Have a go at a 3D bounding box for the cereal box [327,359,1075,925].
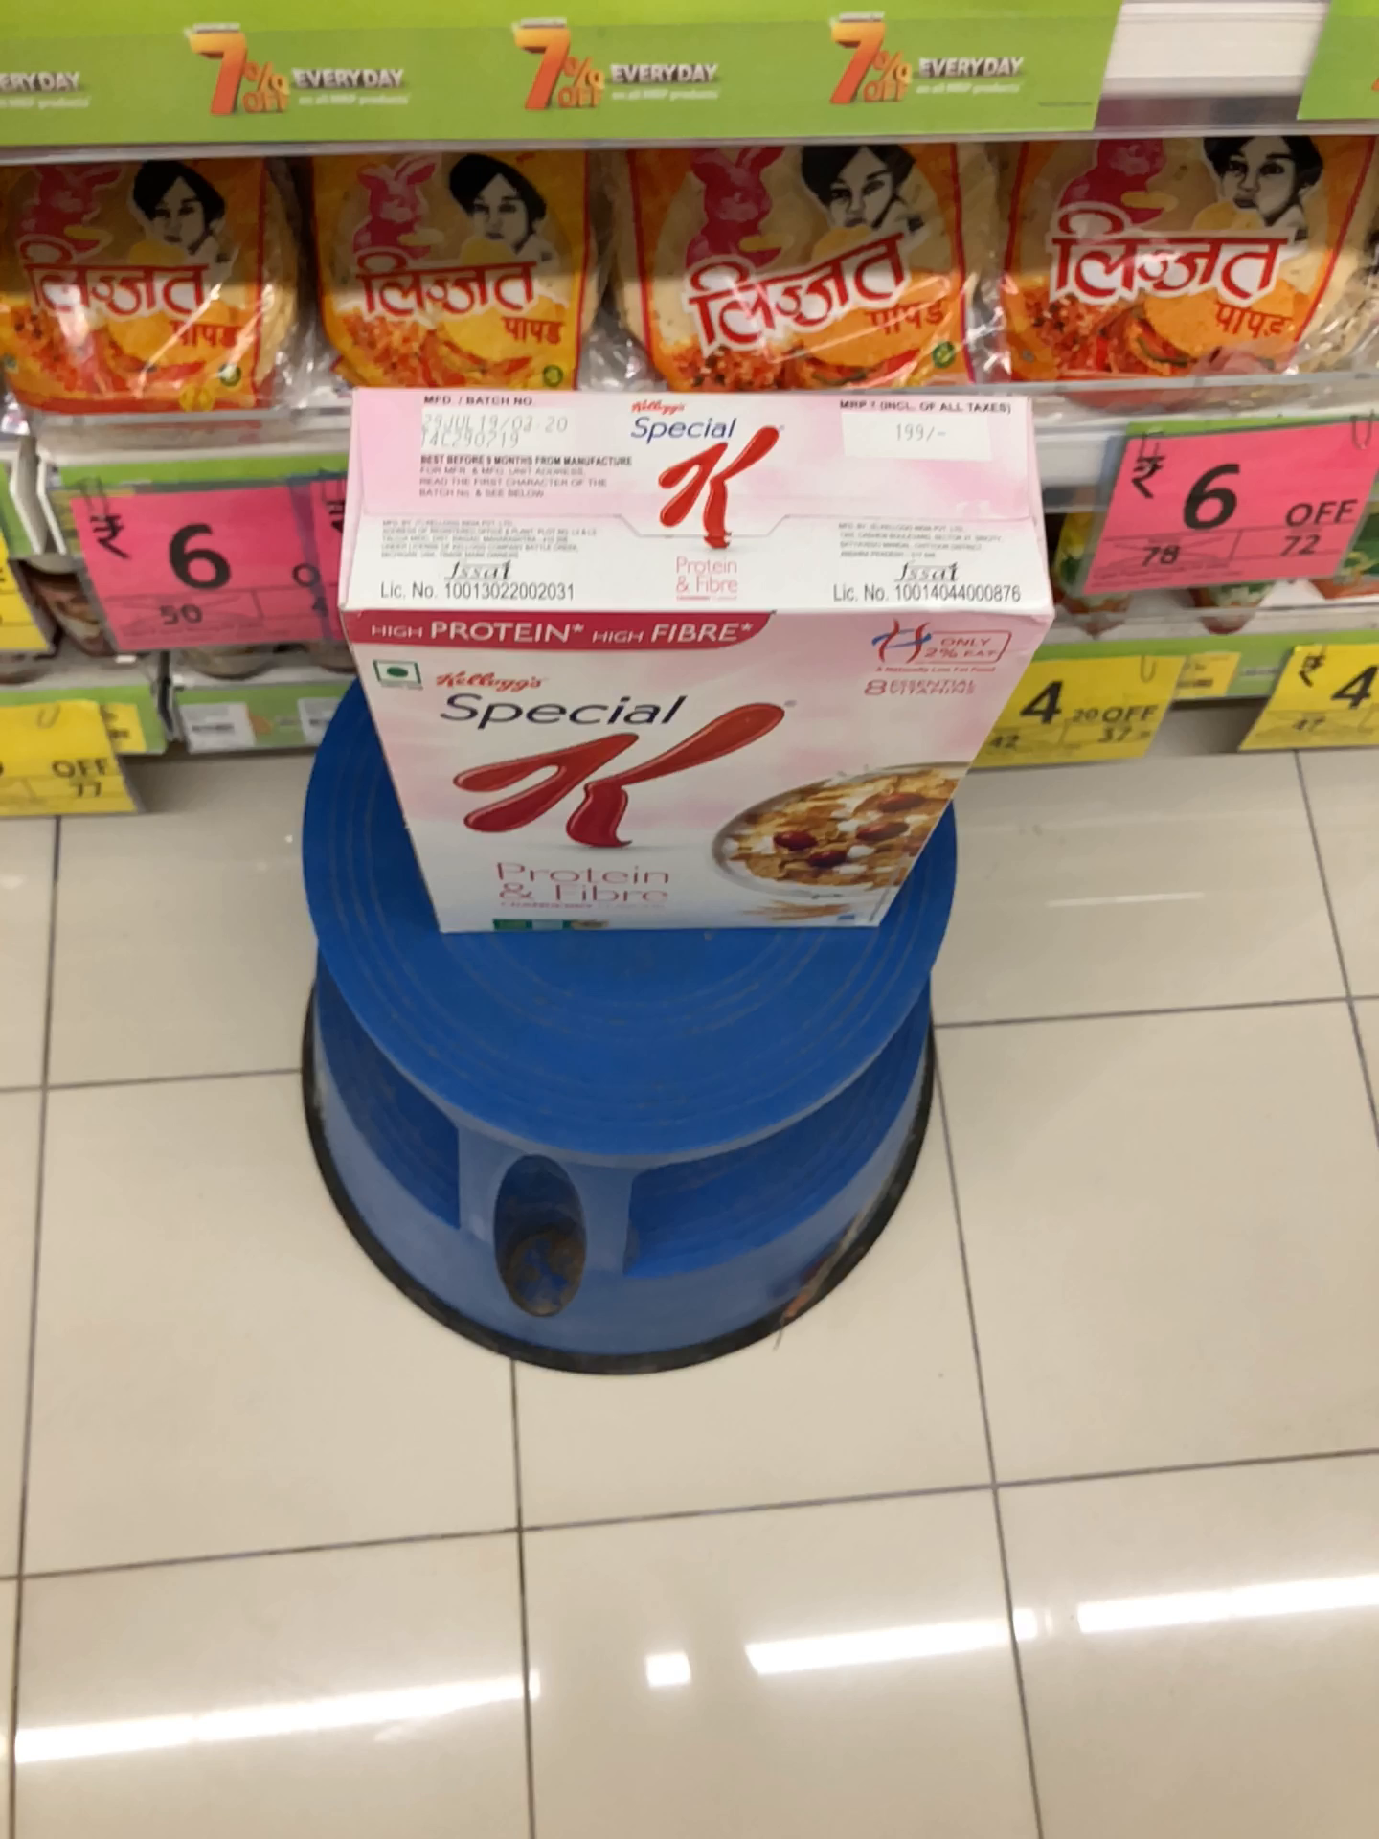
[{"bbox_3d":[-0.002,-0.070,0.496,0.180,0.249,0.070,0,72,-3],"label":"cereal box"}]
